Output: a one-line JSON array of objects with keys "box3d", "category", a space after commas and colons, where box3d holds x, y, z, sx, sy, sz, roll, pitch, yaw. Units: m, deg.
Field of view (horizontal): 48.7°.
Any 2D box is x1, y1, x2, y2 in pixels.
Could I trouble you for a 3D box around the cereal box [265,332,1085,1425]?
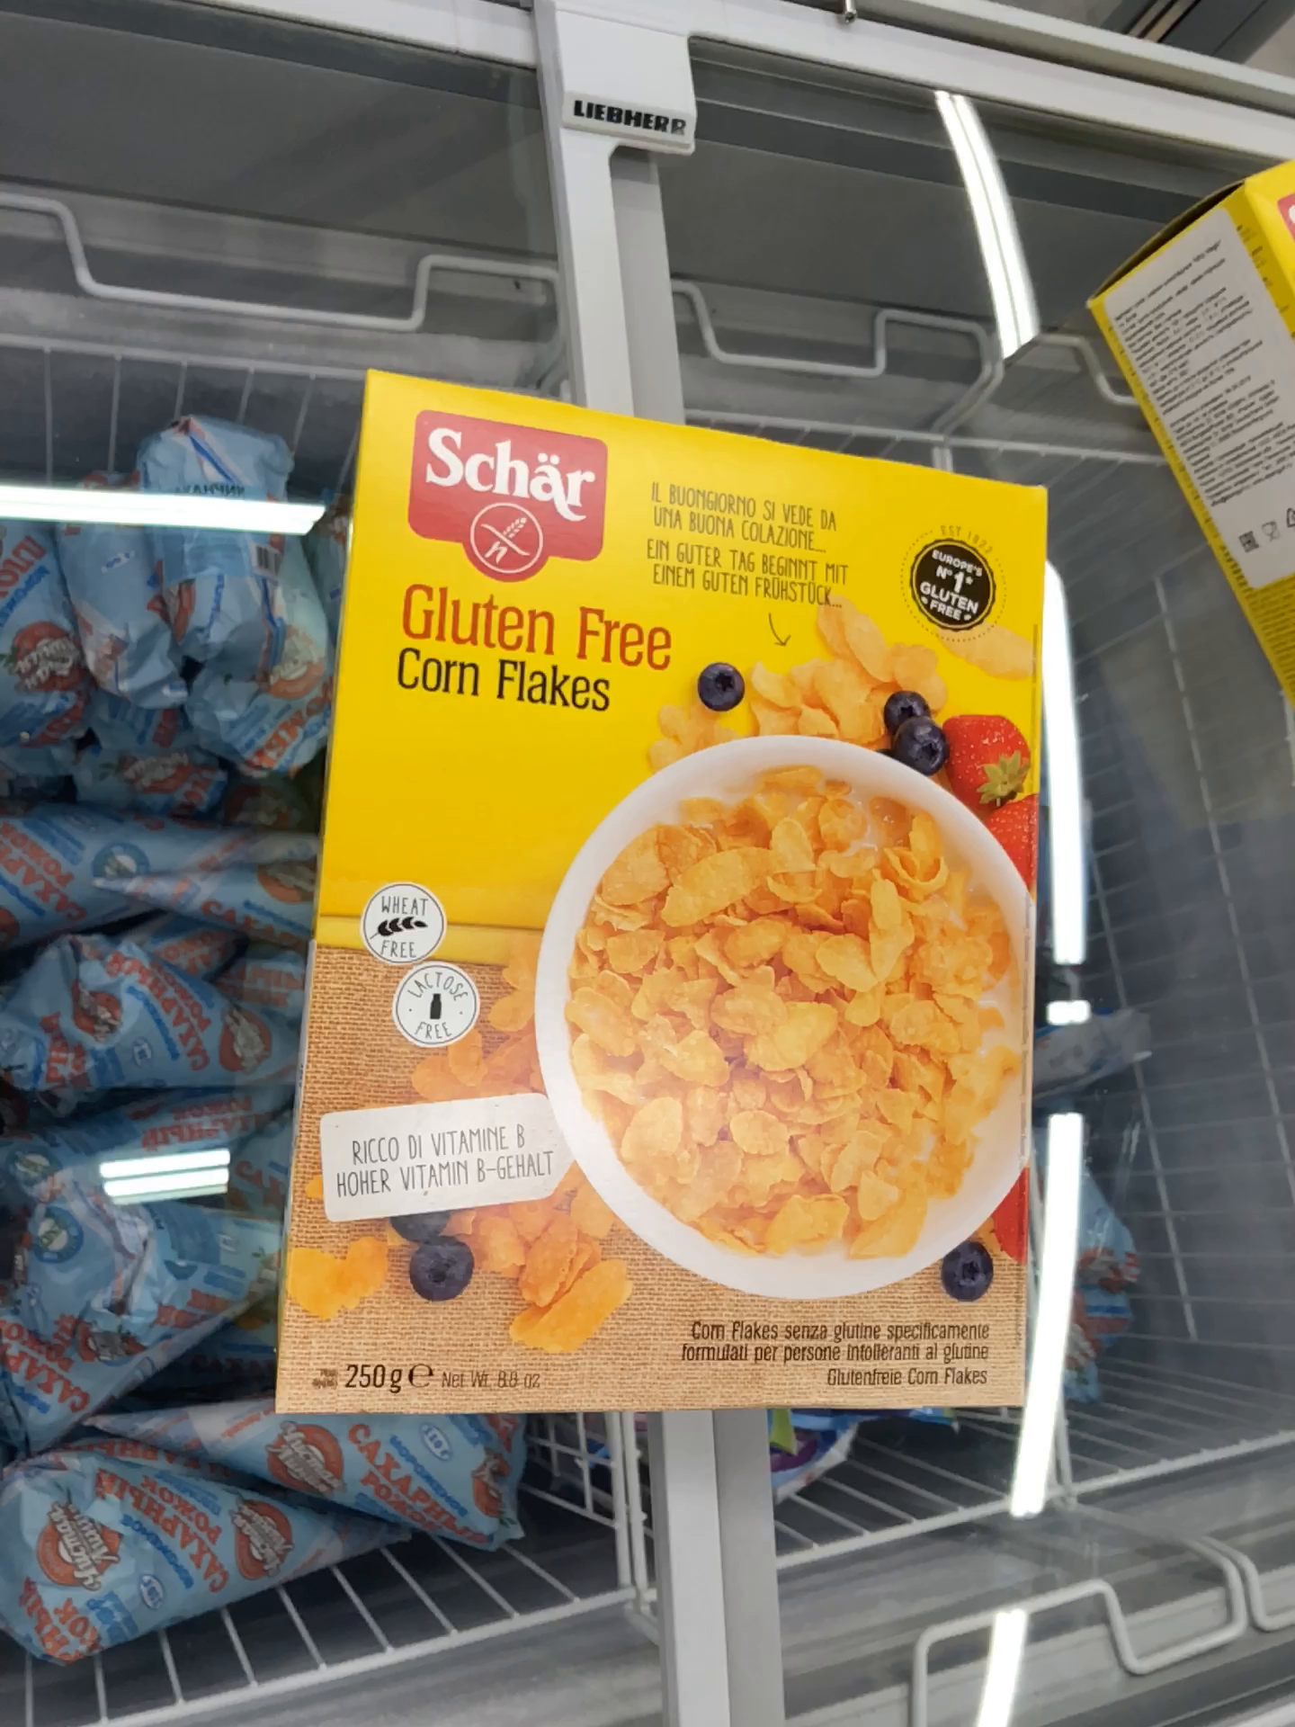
[{"box3d": [0.010, 0.011, 0.403, 0.200, 0.080, 0.260, 6, 82, -16], "category": "cereal box"}]
